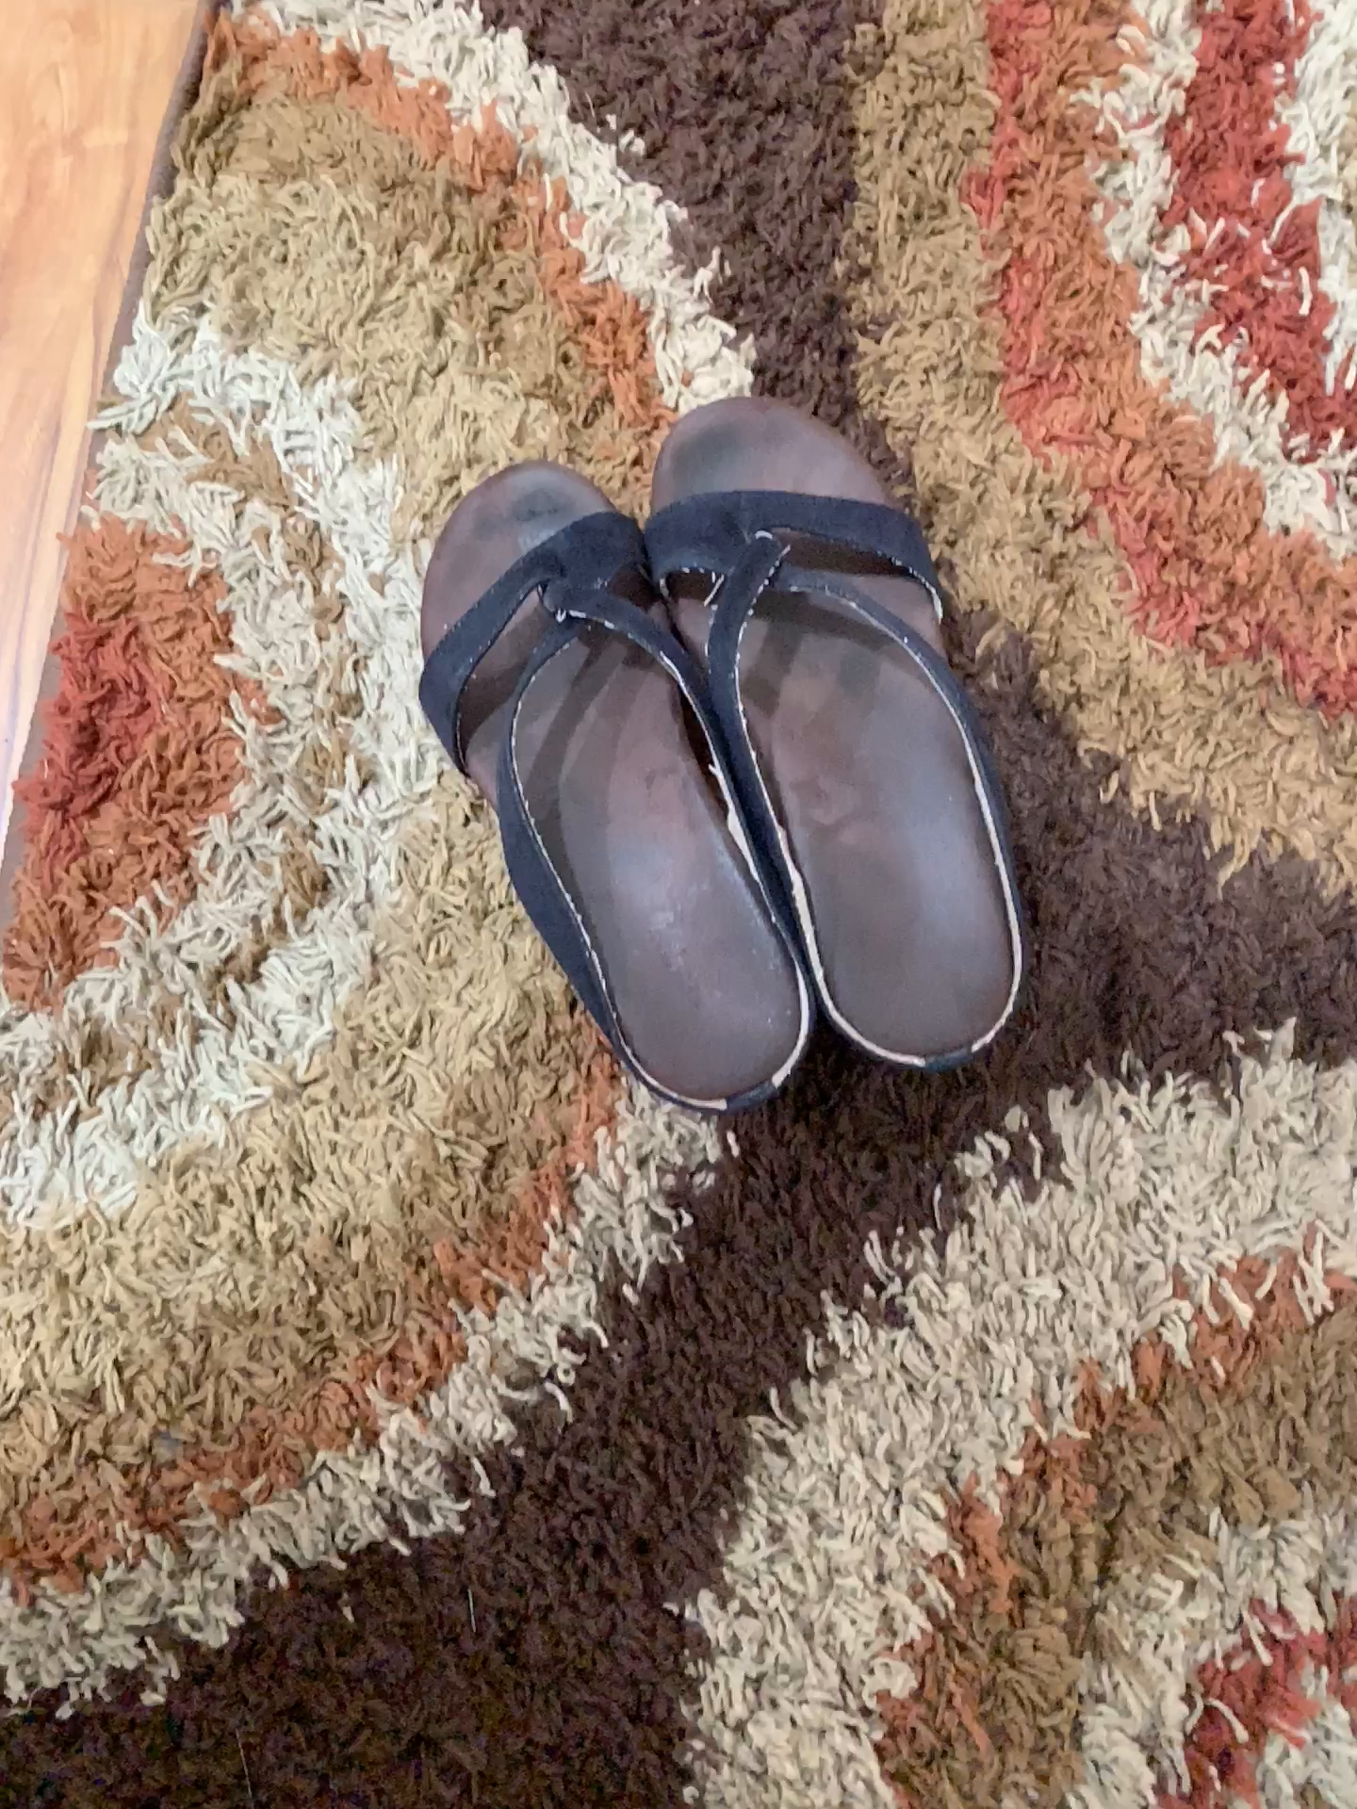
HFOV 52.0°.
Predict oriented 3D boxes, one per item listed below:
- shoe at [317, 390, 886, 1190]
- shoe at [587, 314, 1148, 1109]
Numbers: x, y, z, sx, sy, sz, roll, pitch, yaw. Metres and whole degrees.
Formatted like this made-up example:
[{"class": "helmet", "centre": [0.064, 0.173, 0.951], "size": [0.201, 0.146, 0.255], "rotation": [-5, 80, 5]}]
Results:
[{"class": "shoe", "centre": [-0.024, -0.034, 0.439], "size": [0.090, 0.062, 0.222], "rotation": [-23, 81, 0]}, {"class": "shoe", "centre": [0.053, -0.057, 0.431], "size": [0.084, 0.052, 0.223], "rotation": [-21, 81, 0]}]
